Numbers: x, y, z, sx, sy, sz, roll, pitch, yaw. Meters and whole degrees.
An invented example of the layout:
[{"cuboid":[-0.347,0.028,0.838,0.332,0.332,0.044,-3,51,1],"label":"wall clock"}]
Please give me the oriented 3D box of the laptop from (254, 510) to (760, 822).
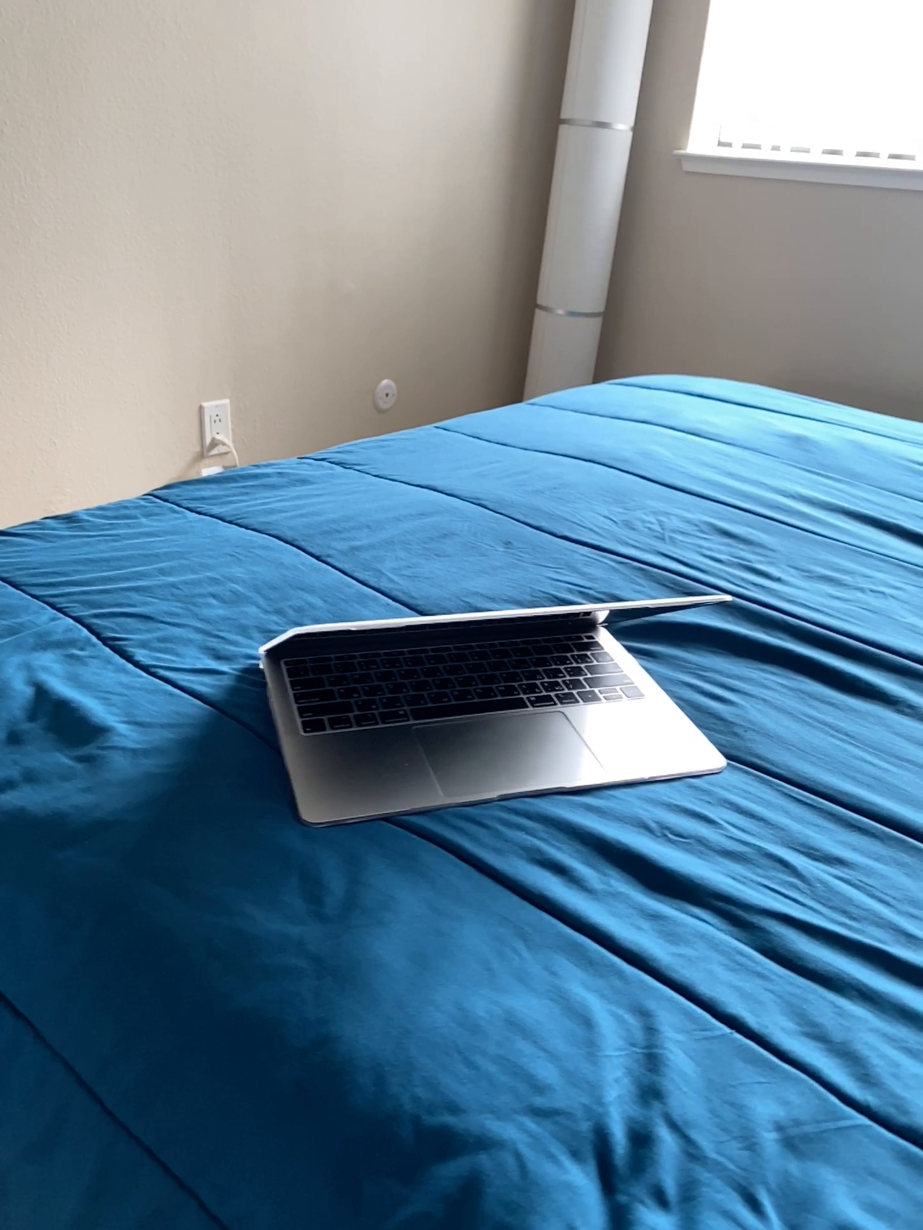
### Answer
[{"cuboid":[0.018,0.020,0.712,0.310,0.106,0.220,-5,30,-17],"label":"laptop"}]
